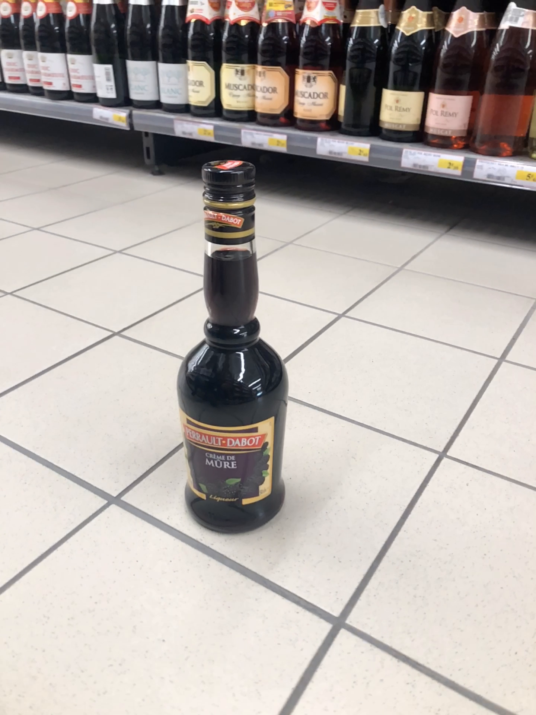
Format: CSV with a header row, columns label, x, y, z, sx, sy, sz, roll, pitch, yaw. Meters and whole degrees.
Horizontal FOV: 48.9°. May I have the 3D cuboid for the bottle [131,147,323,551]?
label,x,y,z,sx,sy,sz,roll,pitch,yaw
bottle,-0.022,0.000,0.406,0.090,0.259,0.081,9,29,14
